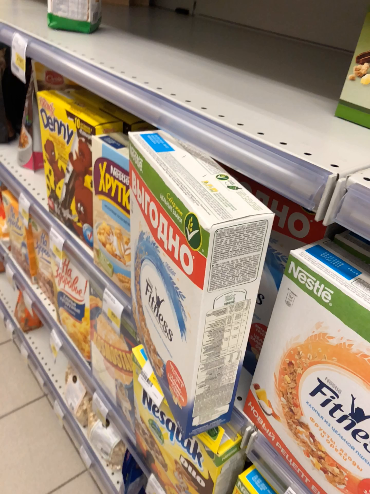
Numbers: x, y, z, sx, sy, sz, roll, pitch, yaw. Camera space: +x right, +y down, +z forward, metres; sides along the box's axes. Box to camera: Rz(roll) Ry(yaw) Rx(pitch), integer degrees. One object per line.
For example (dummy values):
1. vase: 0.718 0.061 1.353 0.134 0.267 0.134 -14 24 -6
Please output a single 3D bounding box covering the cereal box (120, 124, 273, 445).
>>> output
1. cereal box: -0.010 0.041 0.457 0.060 0.288 0.201 -12 38 -21
